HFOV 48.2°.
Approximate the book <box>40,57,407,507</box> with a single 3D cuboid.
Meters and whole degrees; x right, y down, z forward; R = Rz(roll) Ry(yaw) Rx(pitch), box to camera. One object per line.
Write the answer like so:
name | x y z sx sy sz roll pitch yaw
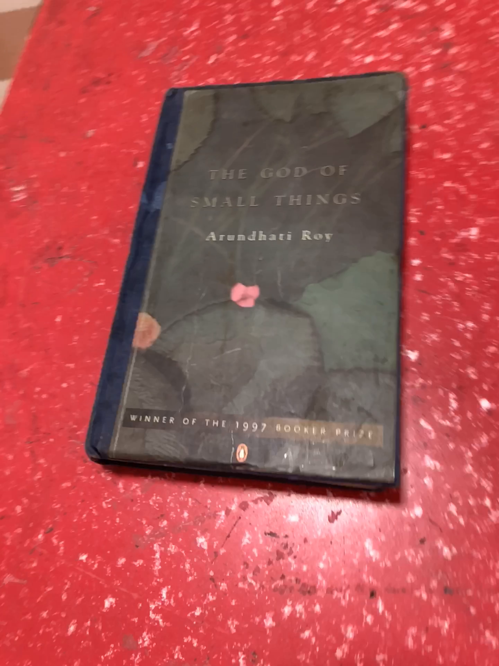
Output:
book | -0.001 -0.036 0.283 0.150 0.040 0.220 2 67 14
